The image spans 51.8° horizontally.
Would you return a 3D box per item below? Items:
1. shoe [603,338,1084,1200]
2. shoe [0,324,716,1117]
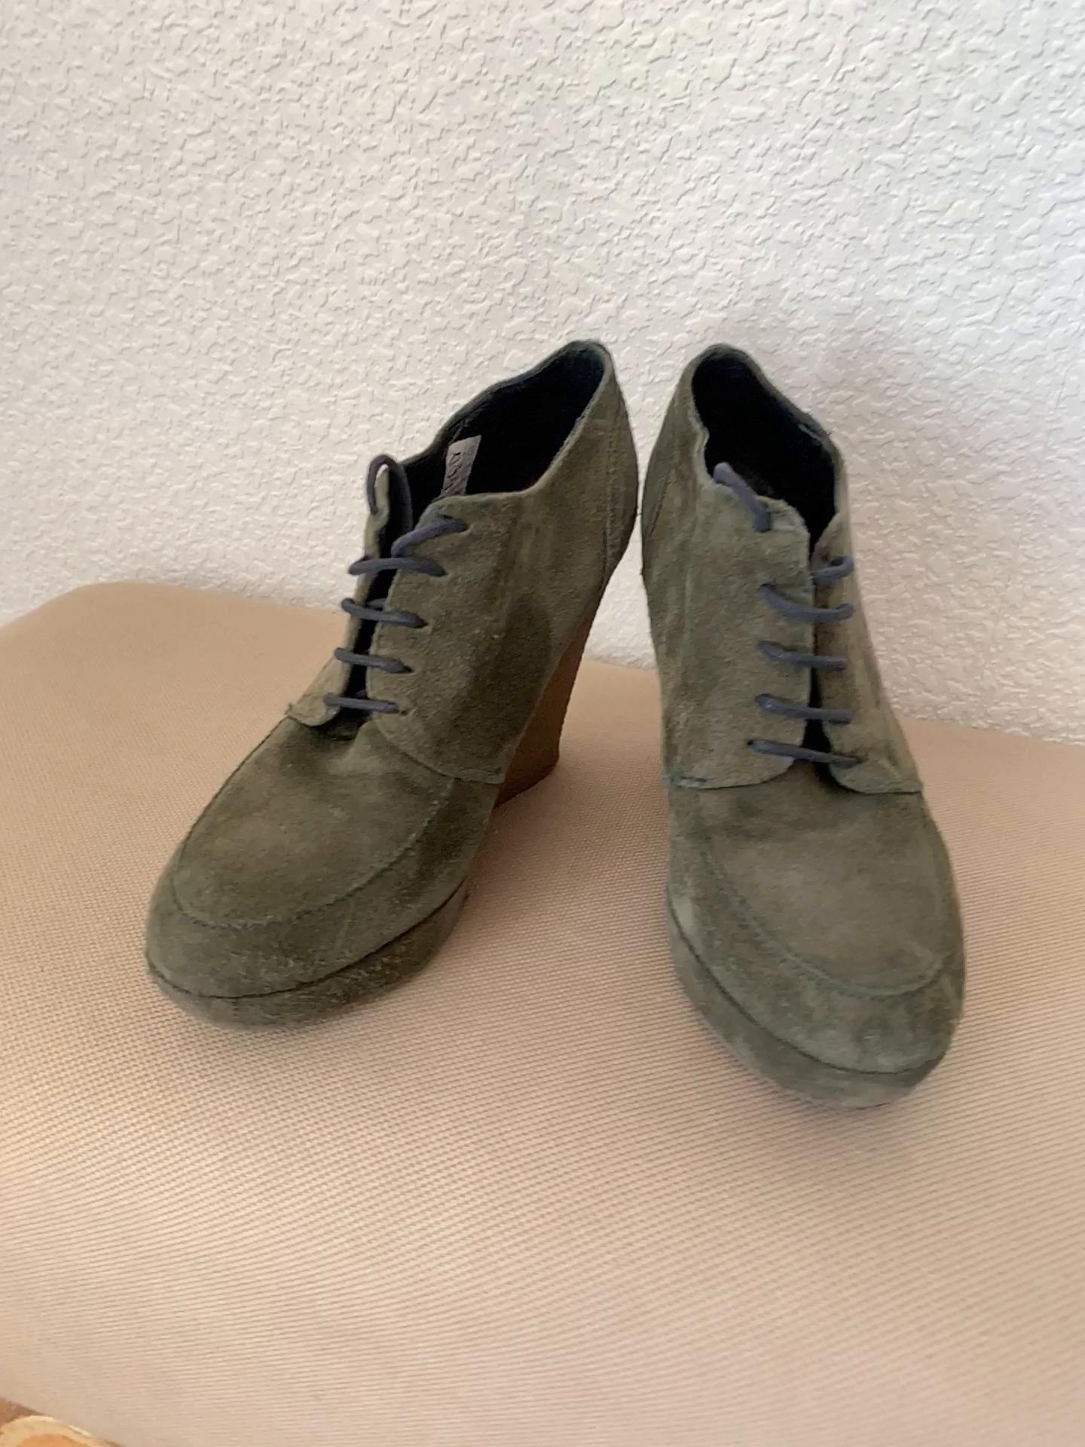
[{"bbox_3d":[0.074,-0.014,0.357,0.080,0.139,0.271,0,34,-2],"label":"shoe"},{"bbox_3d":[-0.041,-0.023,0.349,0.086,0.136,0.230,20,39,26],"label":"shoe"}]
